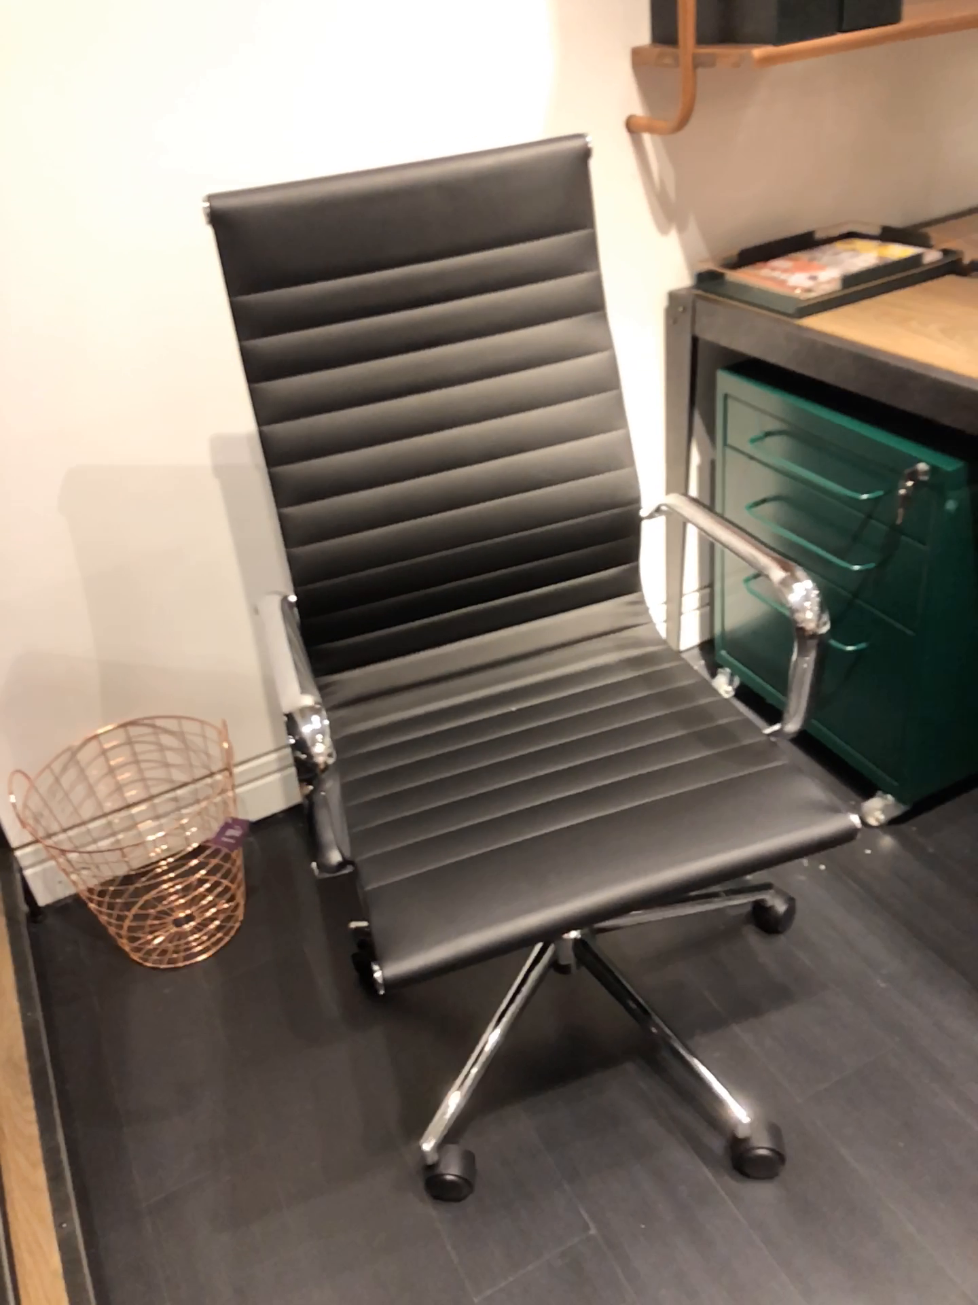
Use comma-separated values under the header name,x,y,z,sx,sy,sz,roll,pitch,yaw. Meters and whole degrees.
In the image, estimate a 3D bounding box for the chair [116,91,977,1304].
name,x,y,z,sx,sy,sz,roll,pitch,yaw
chair,0.087,0.024,1.227,0.680,1.052,0.665,-15,33,-12
